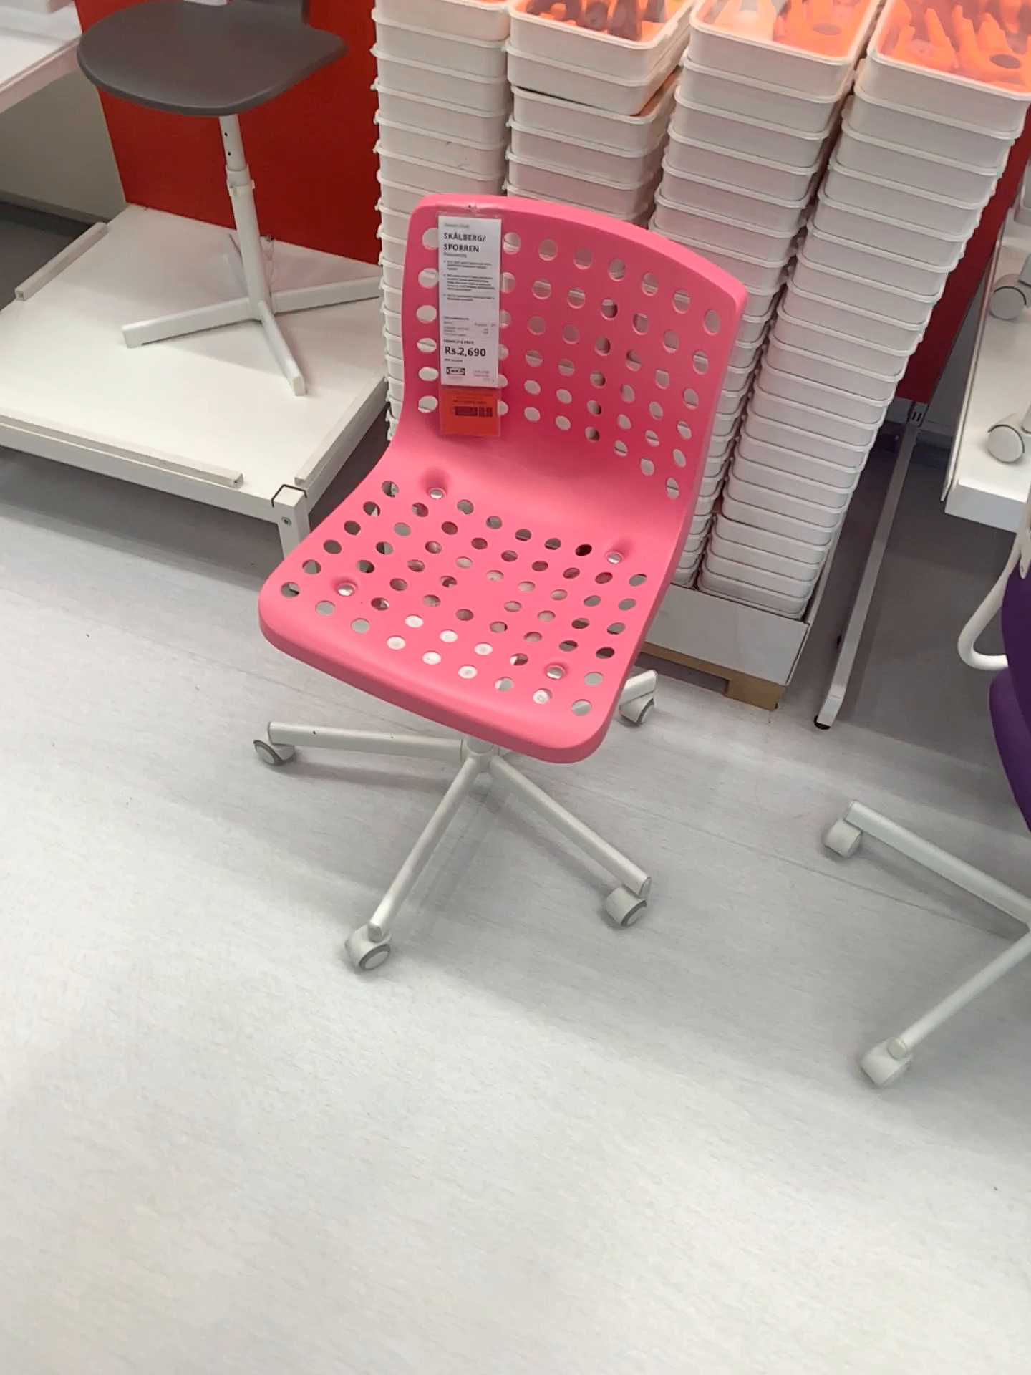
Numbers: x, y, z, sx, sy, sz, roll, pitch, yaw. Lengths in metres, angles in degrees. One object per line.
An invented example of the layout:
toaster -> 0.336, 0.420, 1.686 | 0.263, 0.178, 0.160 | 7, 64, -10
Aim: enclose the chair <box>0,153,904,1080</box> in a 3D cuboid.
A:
chair -> -0.034, -0.094, 1.289 | 0.670, 0.688, 0.692 | 21, 53, 13
